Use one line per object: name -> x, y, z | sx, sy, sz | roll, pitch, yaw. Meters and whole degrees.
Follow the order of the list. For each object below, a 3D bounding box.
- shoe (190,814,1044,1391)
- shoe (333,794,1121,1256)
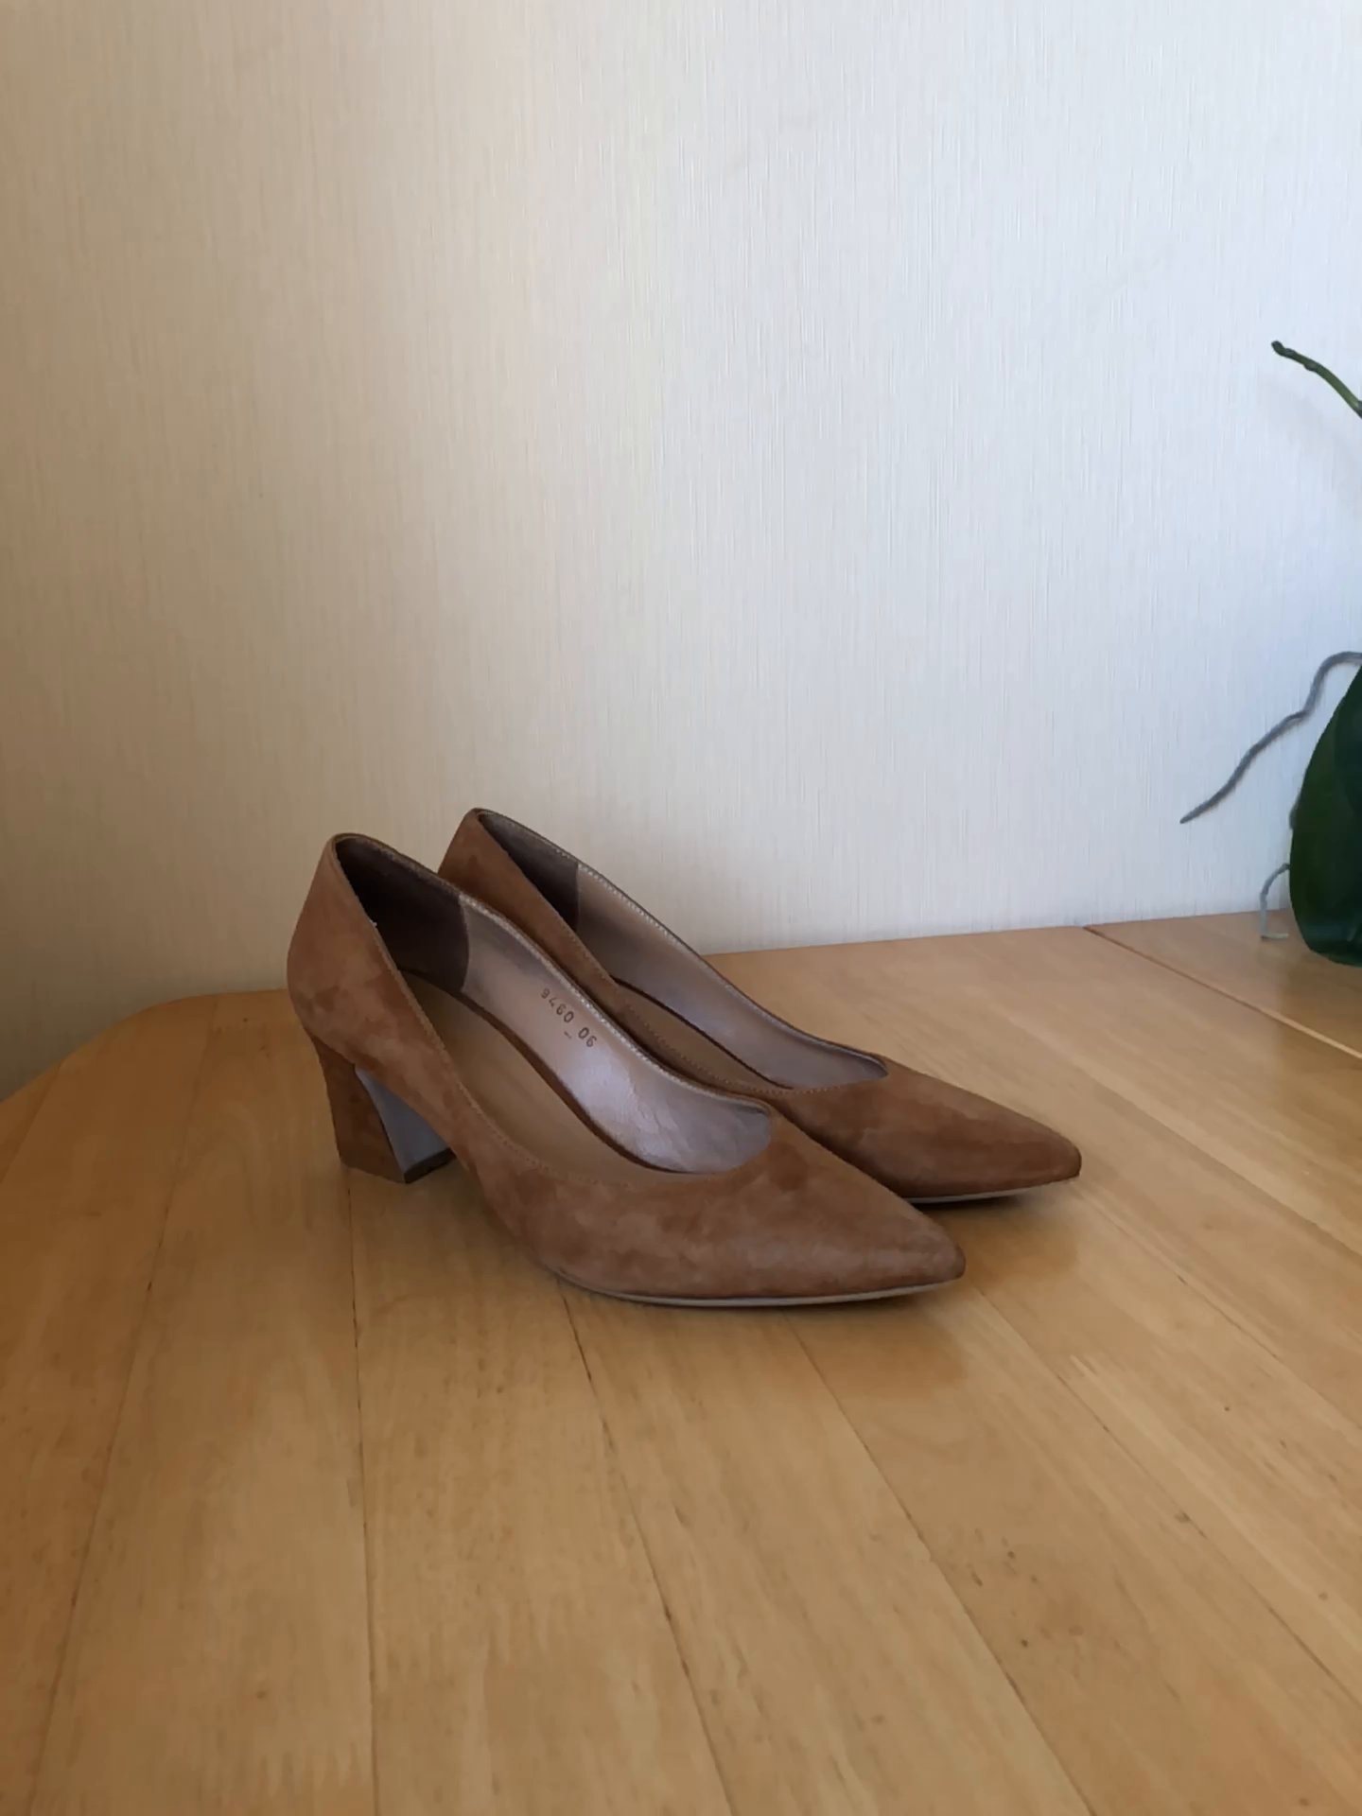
shoe -> -0.026, 0.043, 0.463 | 0.250, 0.110, 0.089 | 8, 16, 32
shoe -> 0.012, 0.028, 0.534 | 0.260, 0.110, 0.089 | 6, 15, 27
